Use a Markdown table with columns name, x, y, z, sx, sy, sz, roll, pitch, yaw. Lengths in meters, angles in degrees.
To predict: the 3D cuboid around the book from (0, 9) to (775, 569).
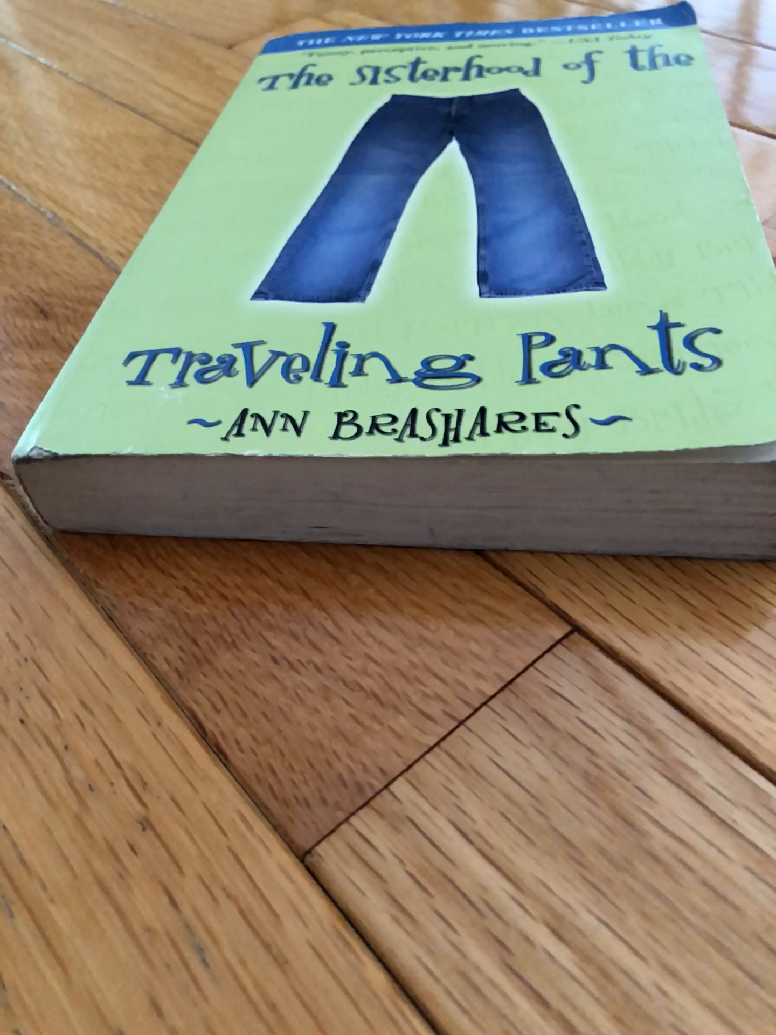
| name | x | y | z | sx | sy | sz | roll | pitch | yaw |
| --- | --- | --- | --- | --- | --- | --- | --- | --- | --- |
| book | 0.011 | -0.078 | 0.219 | 0.141 | 0.025 | 0.210 | 2 | 46 | 9 |
